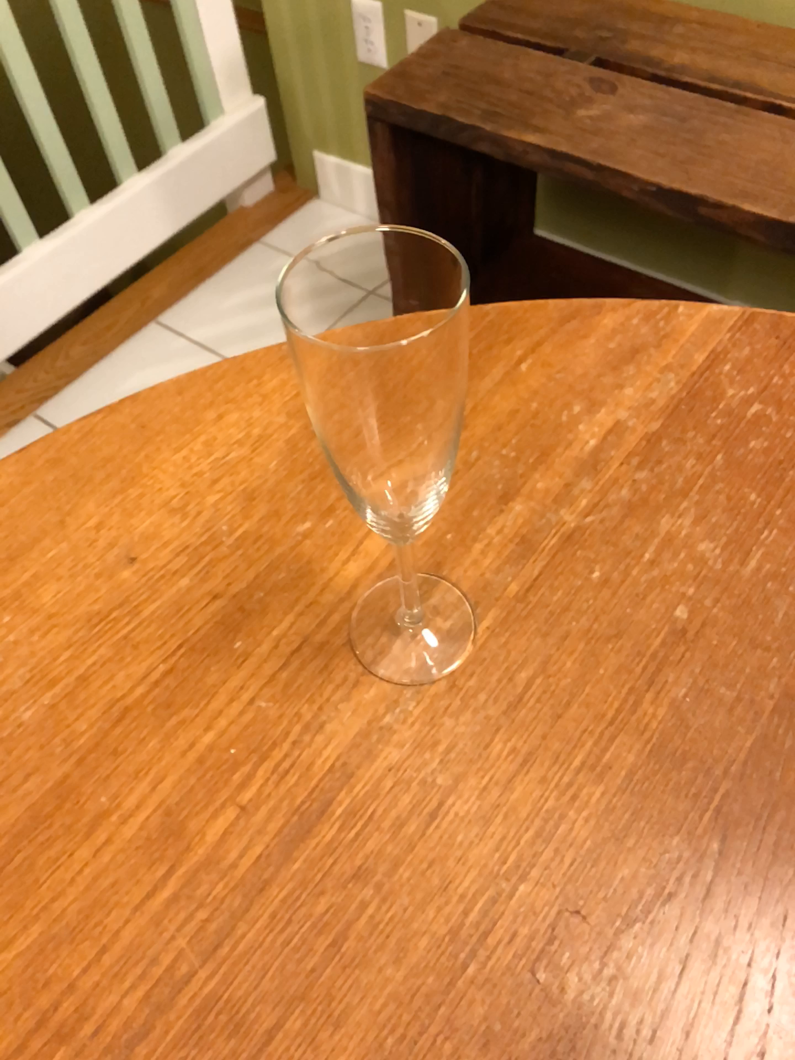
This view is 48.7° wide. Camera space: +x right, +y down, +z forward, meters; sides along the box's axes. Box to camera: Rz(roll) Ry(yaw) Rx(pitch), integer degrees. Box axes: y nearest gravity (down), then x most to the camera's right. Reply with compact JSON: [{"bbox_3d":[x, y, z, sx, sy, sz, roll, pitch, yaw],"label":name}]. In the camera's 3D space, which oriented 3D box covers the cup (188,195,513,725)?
[{"bbox_3d":[-0.006,-0.013,0.360,0.070,0.211,0.077,30,62,25],"label":"cup"}]
